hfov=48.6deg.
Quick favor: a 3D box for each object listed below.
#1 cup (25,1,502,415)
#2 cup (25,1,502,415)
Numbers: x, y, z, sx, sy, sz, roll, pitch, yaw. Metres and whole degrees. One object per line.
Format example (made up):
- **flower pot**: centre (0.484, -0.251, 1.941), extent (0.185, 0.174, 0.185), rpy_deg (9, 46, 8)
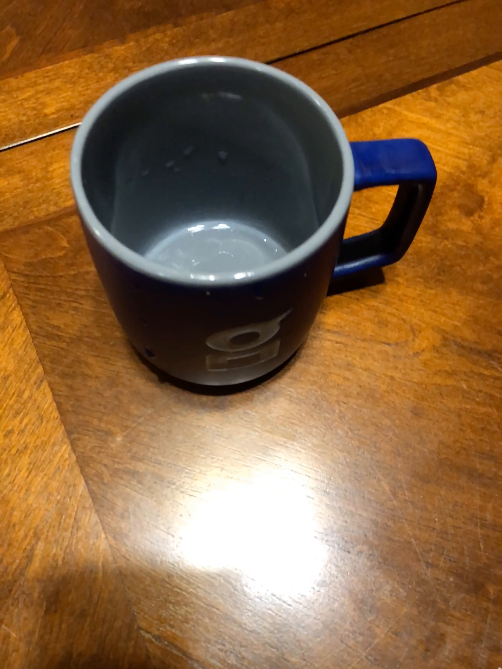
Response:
- **cup**: centre (0.002, -0.045, 0.222), extent (0.140, 0.100, 0.100), rpy_deg (-12, 67, -8)
- **cup**: centre (0.002, -0.045, 0.222), extent (0.140, 0.100, 0.100), rpy_deg (-12, 67, -8)
